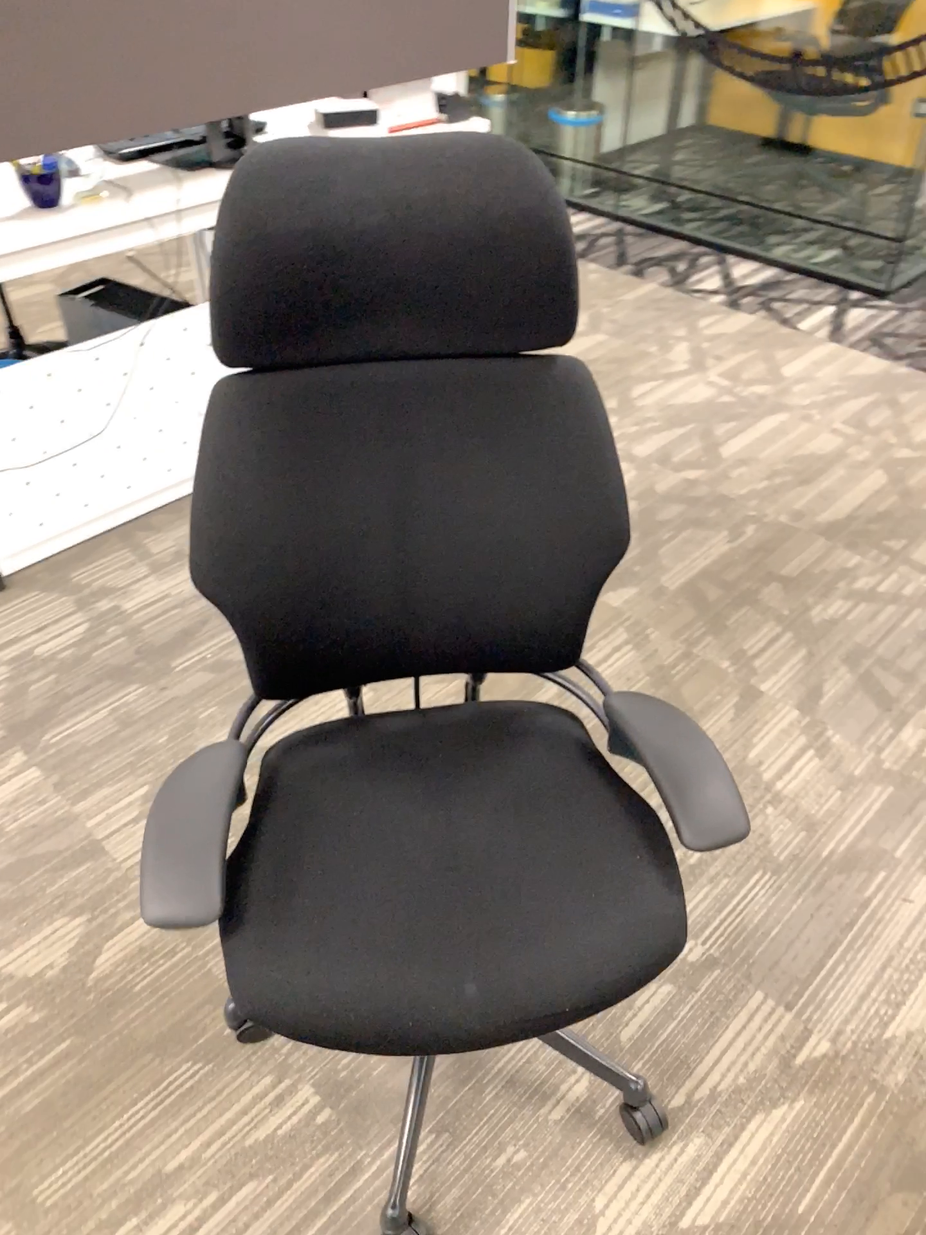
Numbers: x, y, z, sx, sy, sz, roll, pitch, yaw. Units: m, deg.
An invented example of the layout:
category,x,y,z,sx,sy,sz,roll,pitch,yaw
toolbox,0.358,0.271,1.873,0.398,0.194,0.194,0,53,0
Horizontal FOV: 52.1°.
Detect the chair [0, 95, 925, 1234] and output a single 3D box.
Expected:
category,x,y,z,sx,sy,sz,roll,pitch,yaw
chair,-0.023,0.109,1.082,0.690,1.091,0.777,-6,40,-8
